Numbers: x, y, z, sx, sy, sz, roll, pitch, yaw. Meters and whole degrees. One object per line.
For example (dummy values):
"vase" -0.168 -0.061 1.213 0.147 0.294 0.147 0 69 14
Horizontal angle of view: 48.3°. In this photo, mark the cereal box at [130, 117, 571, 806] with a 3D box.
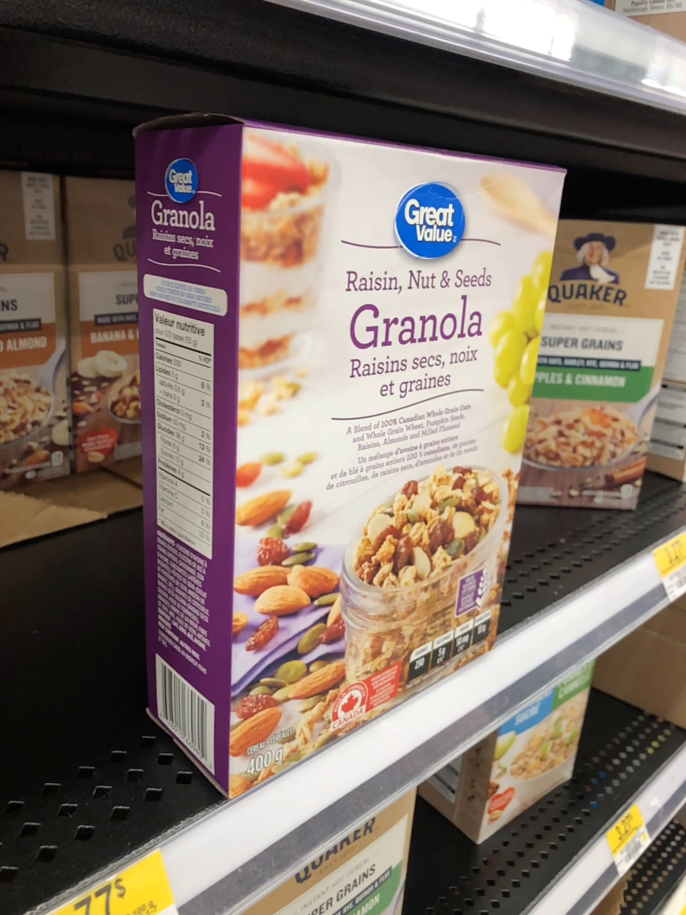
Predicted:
"cereal box" 0.006 -0.006 0.305 0.161 0.219 0.060 -13 24 -42
